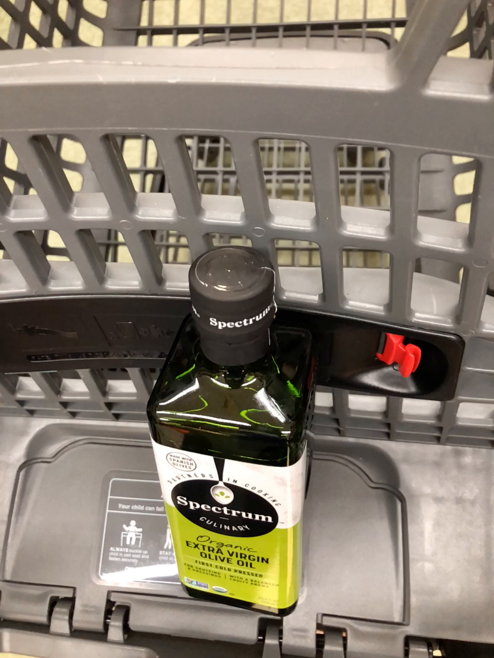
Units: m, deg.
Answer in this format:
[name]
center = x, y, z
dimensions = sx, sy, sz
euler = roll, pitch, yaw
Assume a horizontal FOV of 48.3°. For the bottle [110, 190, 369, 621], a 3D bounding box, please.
[bottle]
center = 0.004, 0.062, 0.289
dimensions = 0.080, 0.251, 0.076
euler = -1, 44, 1
